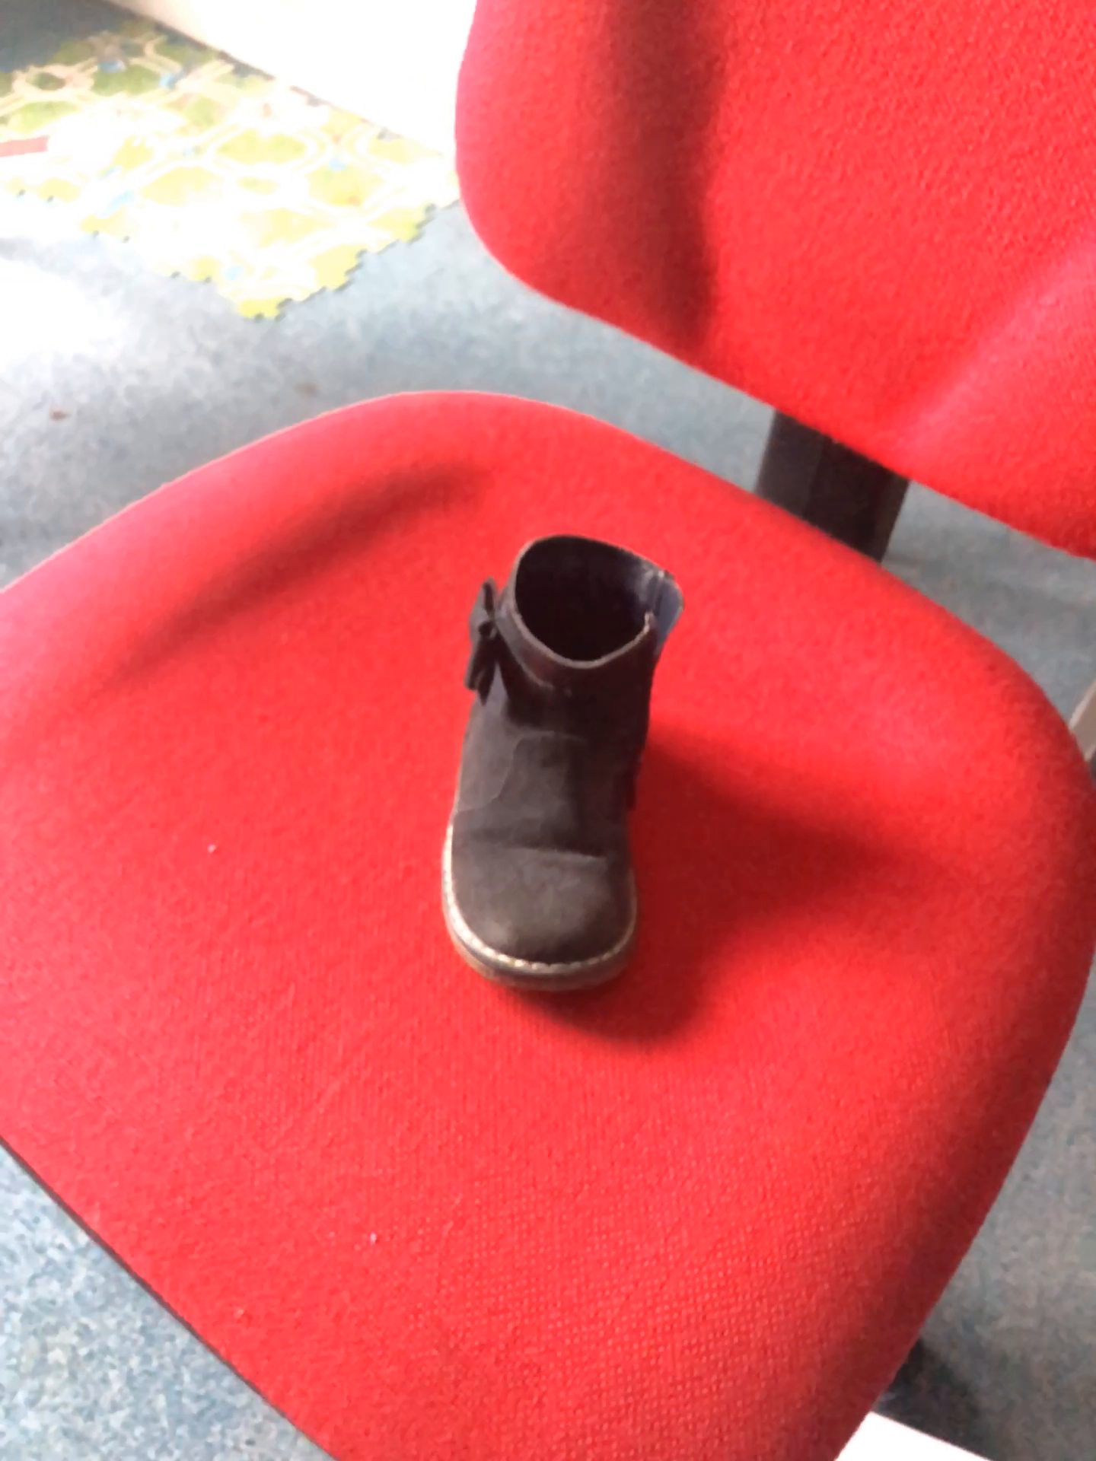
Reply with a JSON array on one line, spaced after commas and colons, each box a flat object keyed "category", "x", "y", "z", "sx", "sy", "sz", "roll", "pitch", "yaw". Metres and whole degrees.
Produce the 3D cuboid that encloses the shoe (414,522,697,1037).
[{"category": "shoe", "x": -0.001, "y": 0.016, "z": 0.429, "sx": 0.080, "sy": 0.100, "sz": 0.151, "roll": 1, "pitch": 53, "yaw": -3}]
